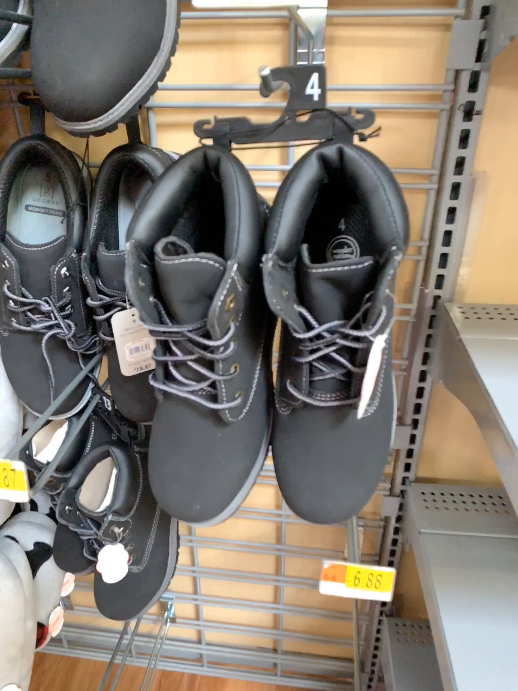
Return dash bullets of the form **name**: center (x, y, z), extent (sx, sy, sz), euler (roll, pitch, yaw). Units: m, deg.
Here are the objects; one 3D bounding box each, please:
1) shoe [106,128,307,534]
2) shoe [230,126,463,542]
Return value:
- **shoe**: center (-0.031, -0.013, 0.359), extent (0.100, 0.229, 0.110), euler (6, 12, 7)
- **shoe**: center (0.048, -0.012, 0.324), extent (0.100, 0.206, 0.120), euler (5, 11, 8)
